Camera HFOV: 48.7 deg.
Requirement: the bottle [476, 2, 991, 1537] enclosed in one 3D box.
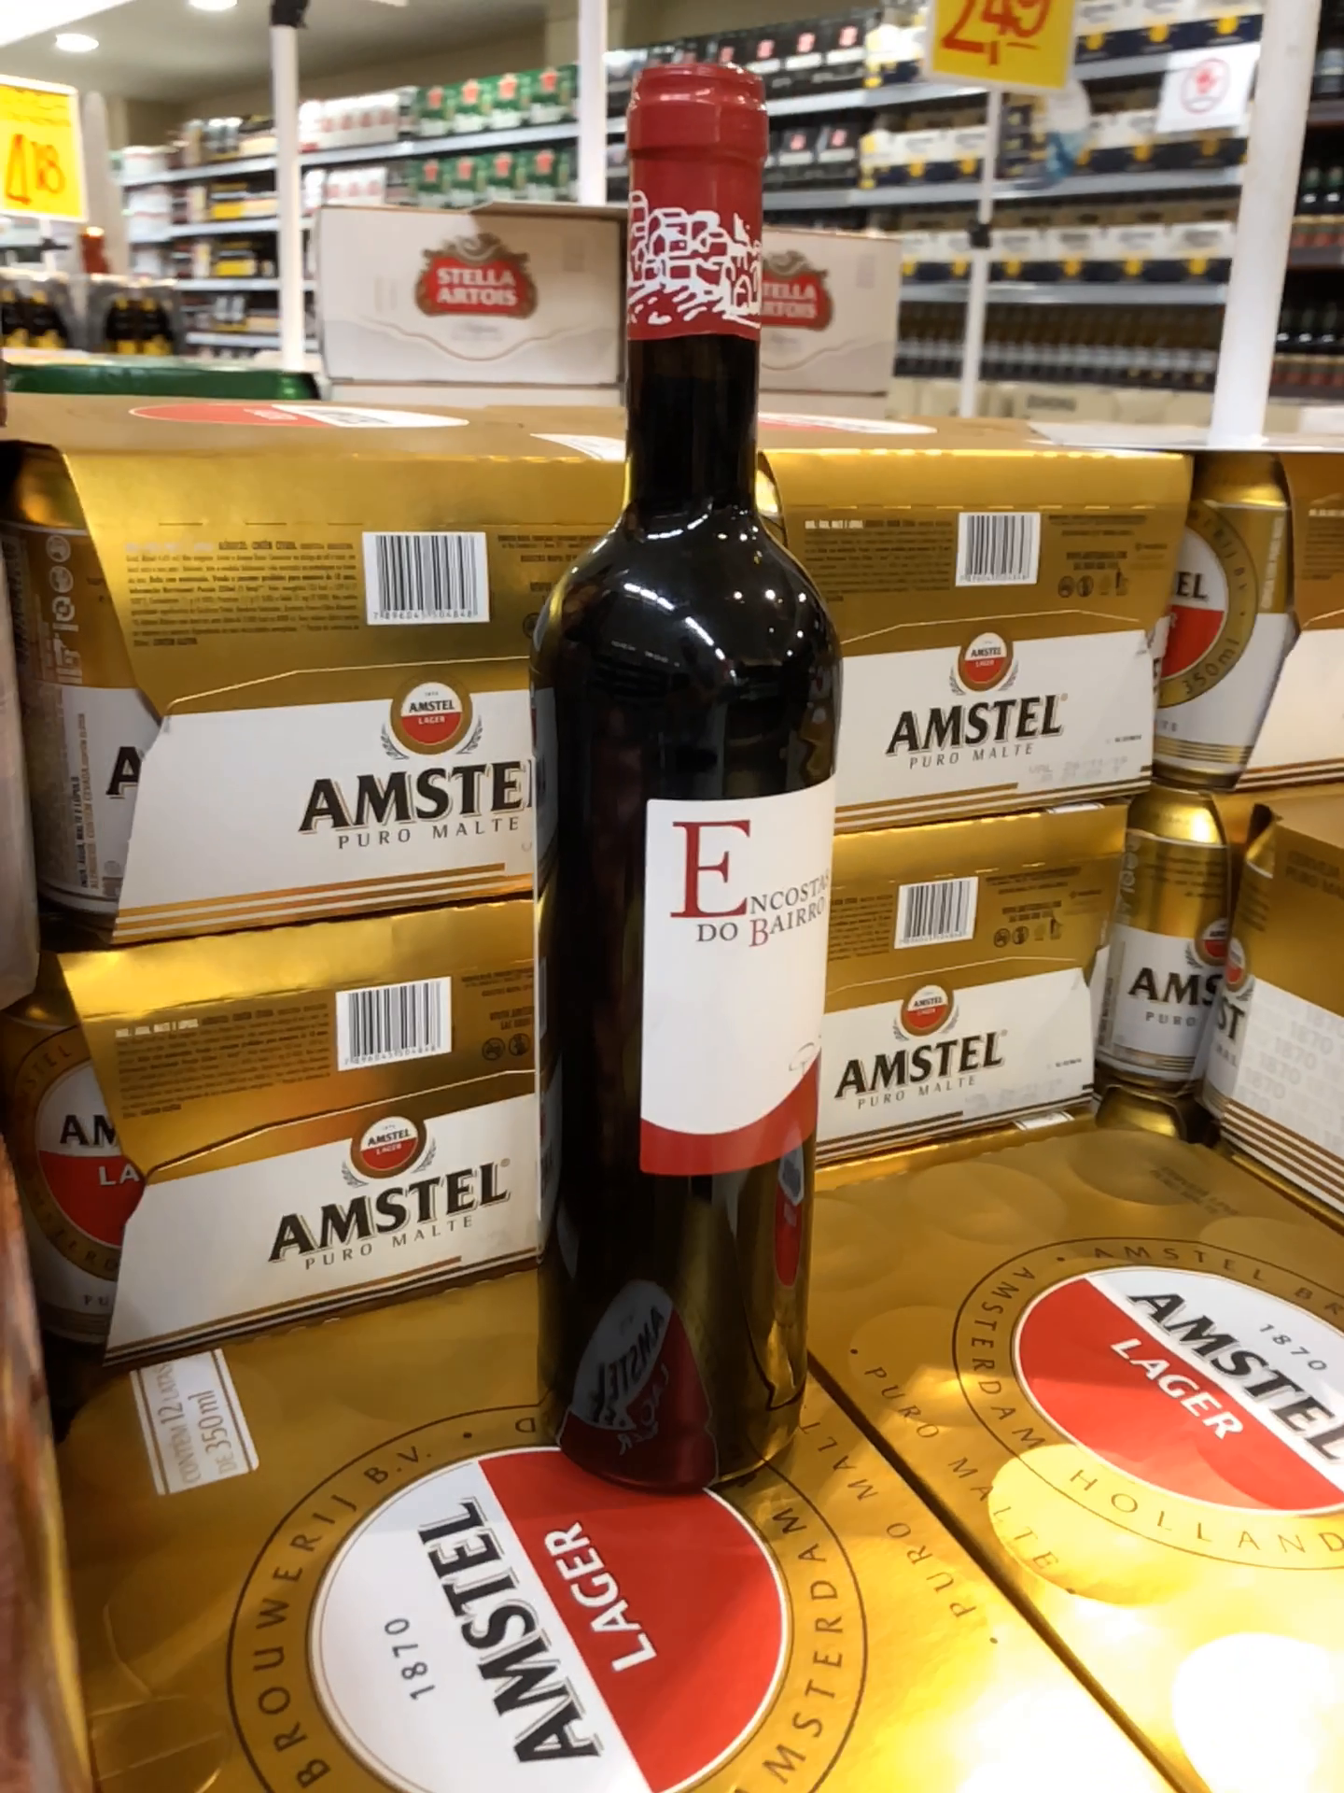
[{"bbox_3d":[0.005,-0.016,0.347,0.070,0.318,0.070,3,19,-1],"label":"bottle"}]
